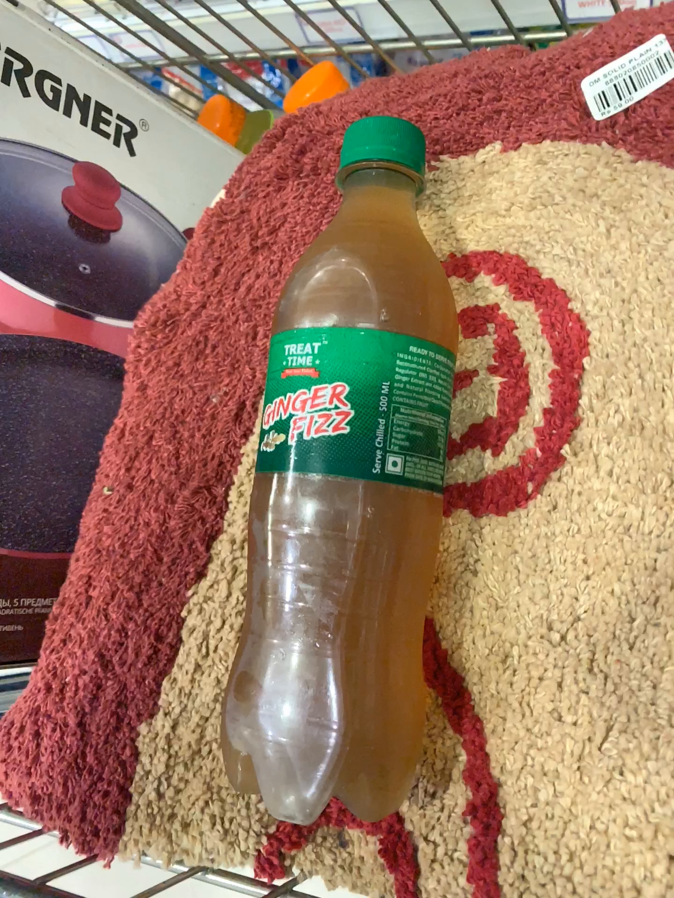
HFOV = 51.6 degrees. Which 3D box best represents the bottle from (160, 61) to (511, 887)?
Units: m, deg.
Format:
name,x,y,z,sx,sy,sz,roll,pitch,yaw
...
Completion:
name,x,y,z,sx,sy,sz,roll,pitch,yaw
bottle,0.005,0.004,0.232,0.070,0.070,0.220,4,86,30
